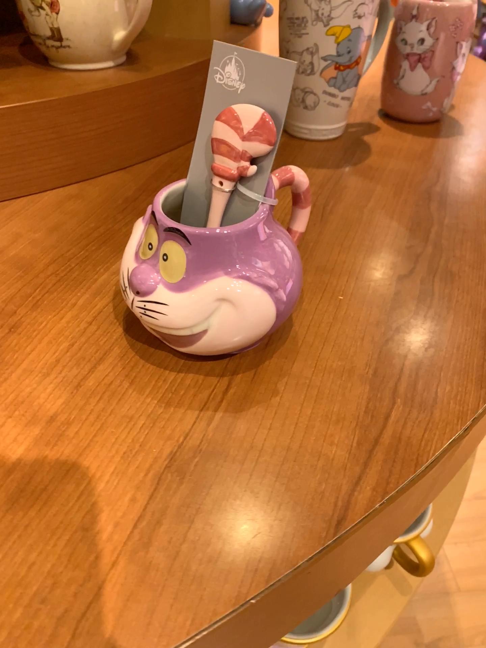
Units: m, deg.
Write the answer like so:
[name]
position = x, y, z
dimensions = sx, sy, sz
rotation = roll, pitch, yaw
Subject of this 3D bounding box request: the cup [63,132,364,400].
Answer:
[cup]
position = -0.009, -0.048, 0.312
dimensions = 0.114, 0.077, 0.143
rotation = 20, 44, 21
